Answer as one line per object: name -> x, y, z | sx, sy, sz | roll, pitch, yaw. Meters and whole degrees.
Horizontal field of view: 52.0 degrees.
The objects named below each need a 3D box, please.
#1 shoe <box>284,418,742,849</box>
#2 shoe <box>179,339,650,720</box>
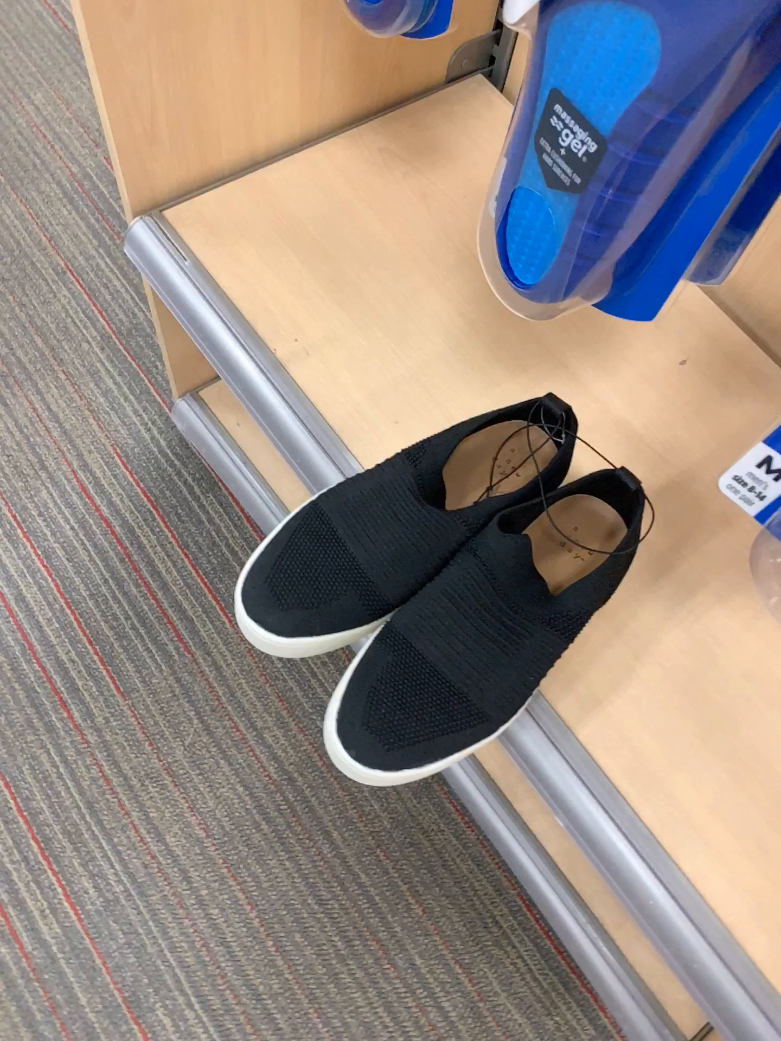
shoe -> 0.073, 0.067, 0.497 | 0.270, 0.100, 0.100 | -36, 75, -20
shoe -> 0.017, 0.003, 0.516 | 0.270, 0.100, 0.100 | -29, 73, -18
